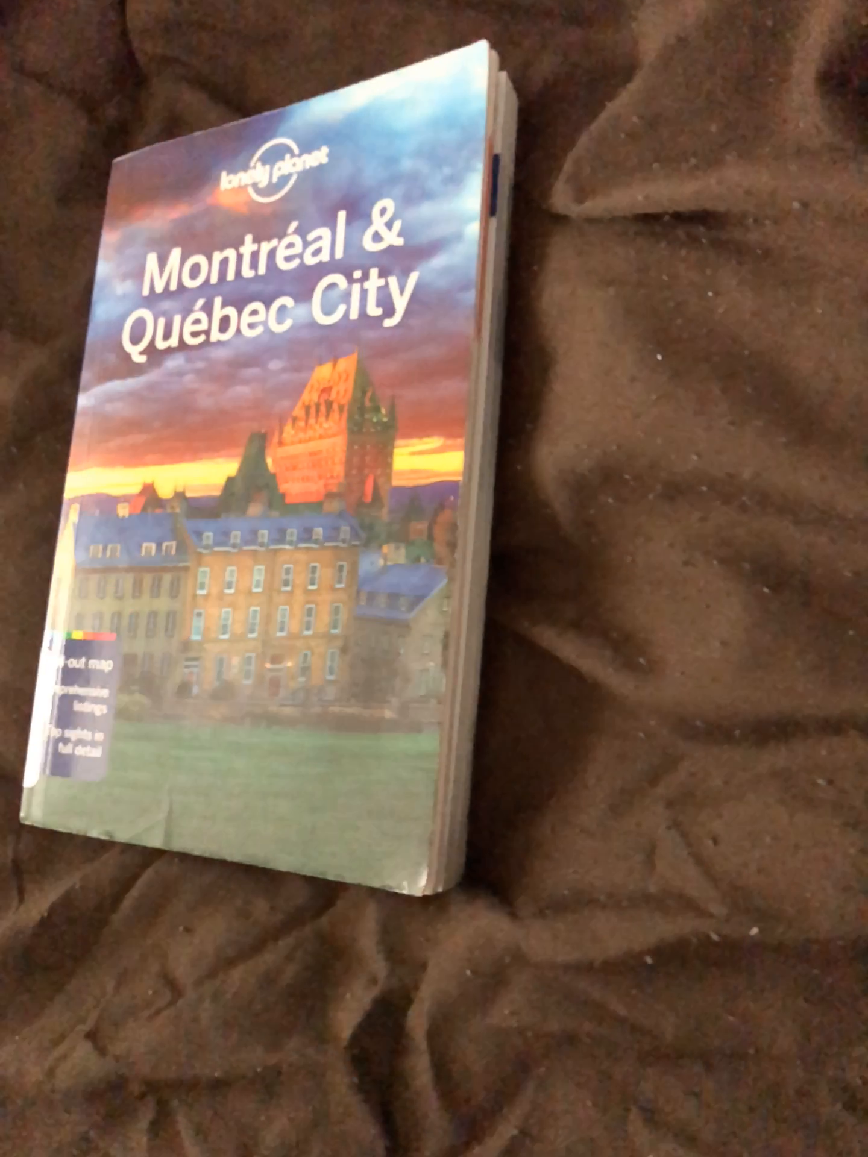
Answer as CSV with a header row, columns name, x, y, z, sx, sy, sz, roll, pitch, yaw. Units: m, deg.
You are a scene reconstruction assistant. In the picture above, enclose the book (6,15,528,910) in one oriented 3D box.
name,x,y,z,sx,sy,sz,roll,pitch,yaw
book,-0.048,-0.030,0.263,0.138,0.024,0.205,0,81,32
